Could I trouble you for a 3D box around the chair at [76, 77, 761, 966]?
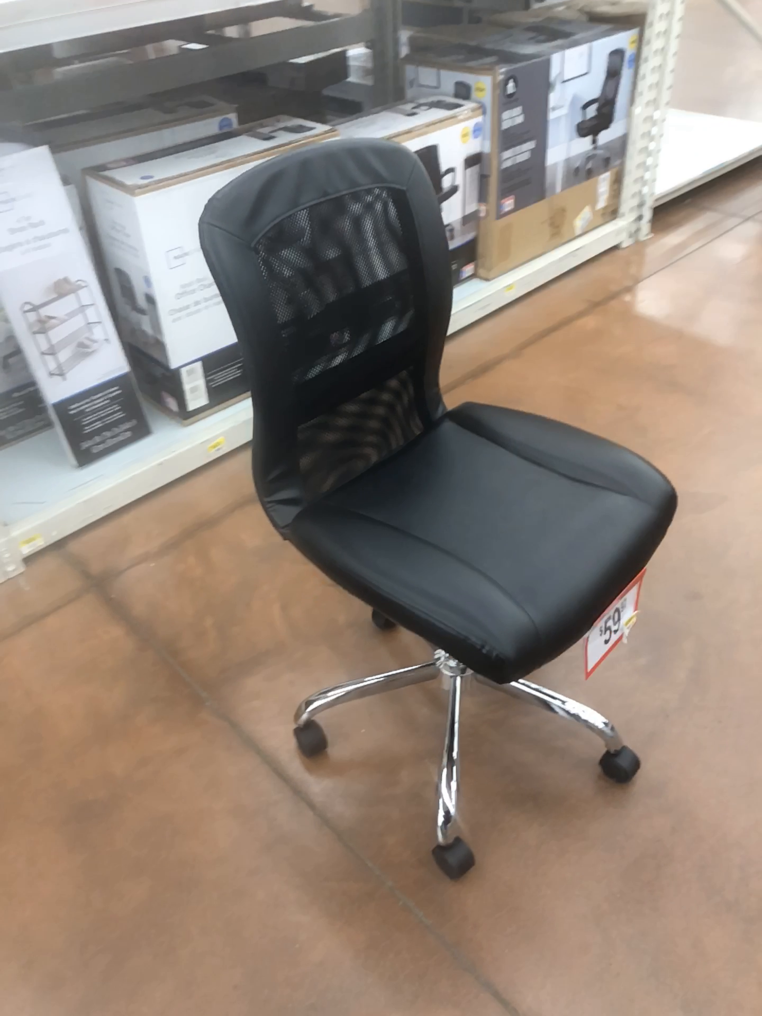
[{"bbox_3d":[0.159,-0.042,1.163,0.651,0.817,0.681,30,49,35],"label":"chair"}]
